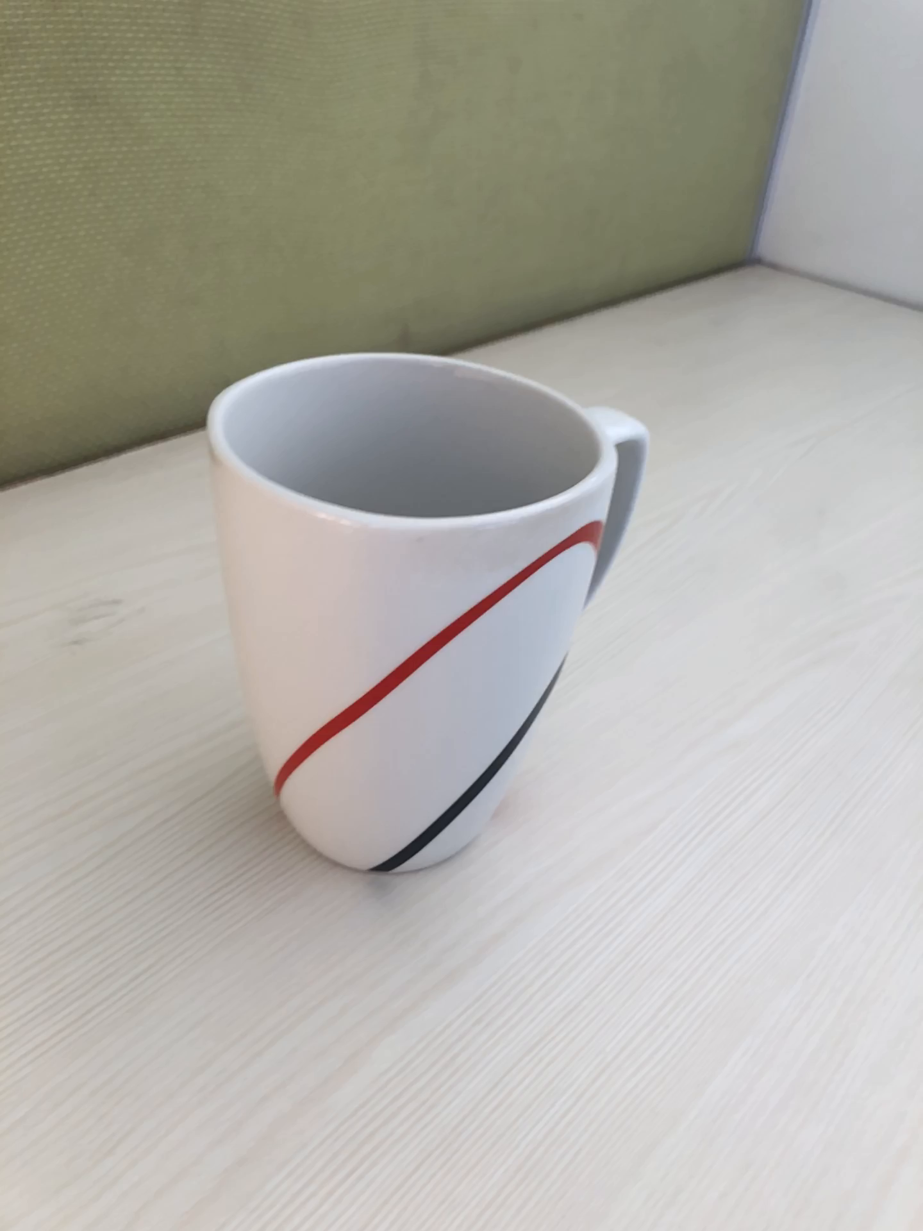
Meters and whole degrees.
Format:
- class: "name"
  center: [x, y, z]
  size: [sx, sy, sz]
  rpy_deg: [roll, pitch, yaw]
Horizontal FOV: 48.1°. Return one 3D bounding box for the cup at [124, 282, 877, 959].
- class: "cup"
  center: [0.008, -0.013, 0.252]
  size: [0.141, 0.099, 0.090]
  rpy_deg: [-19, 39, -34]
